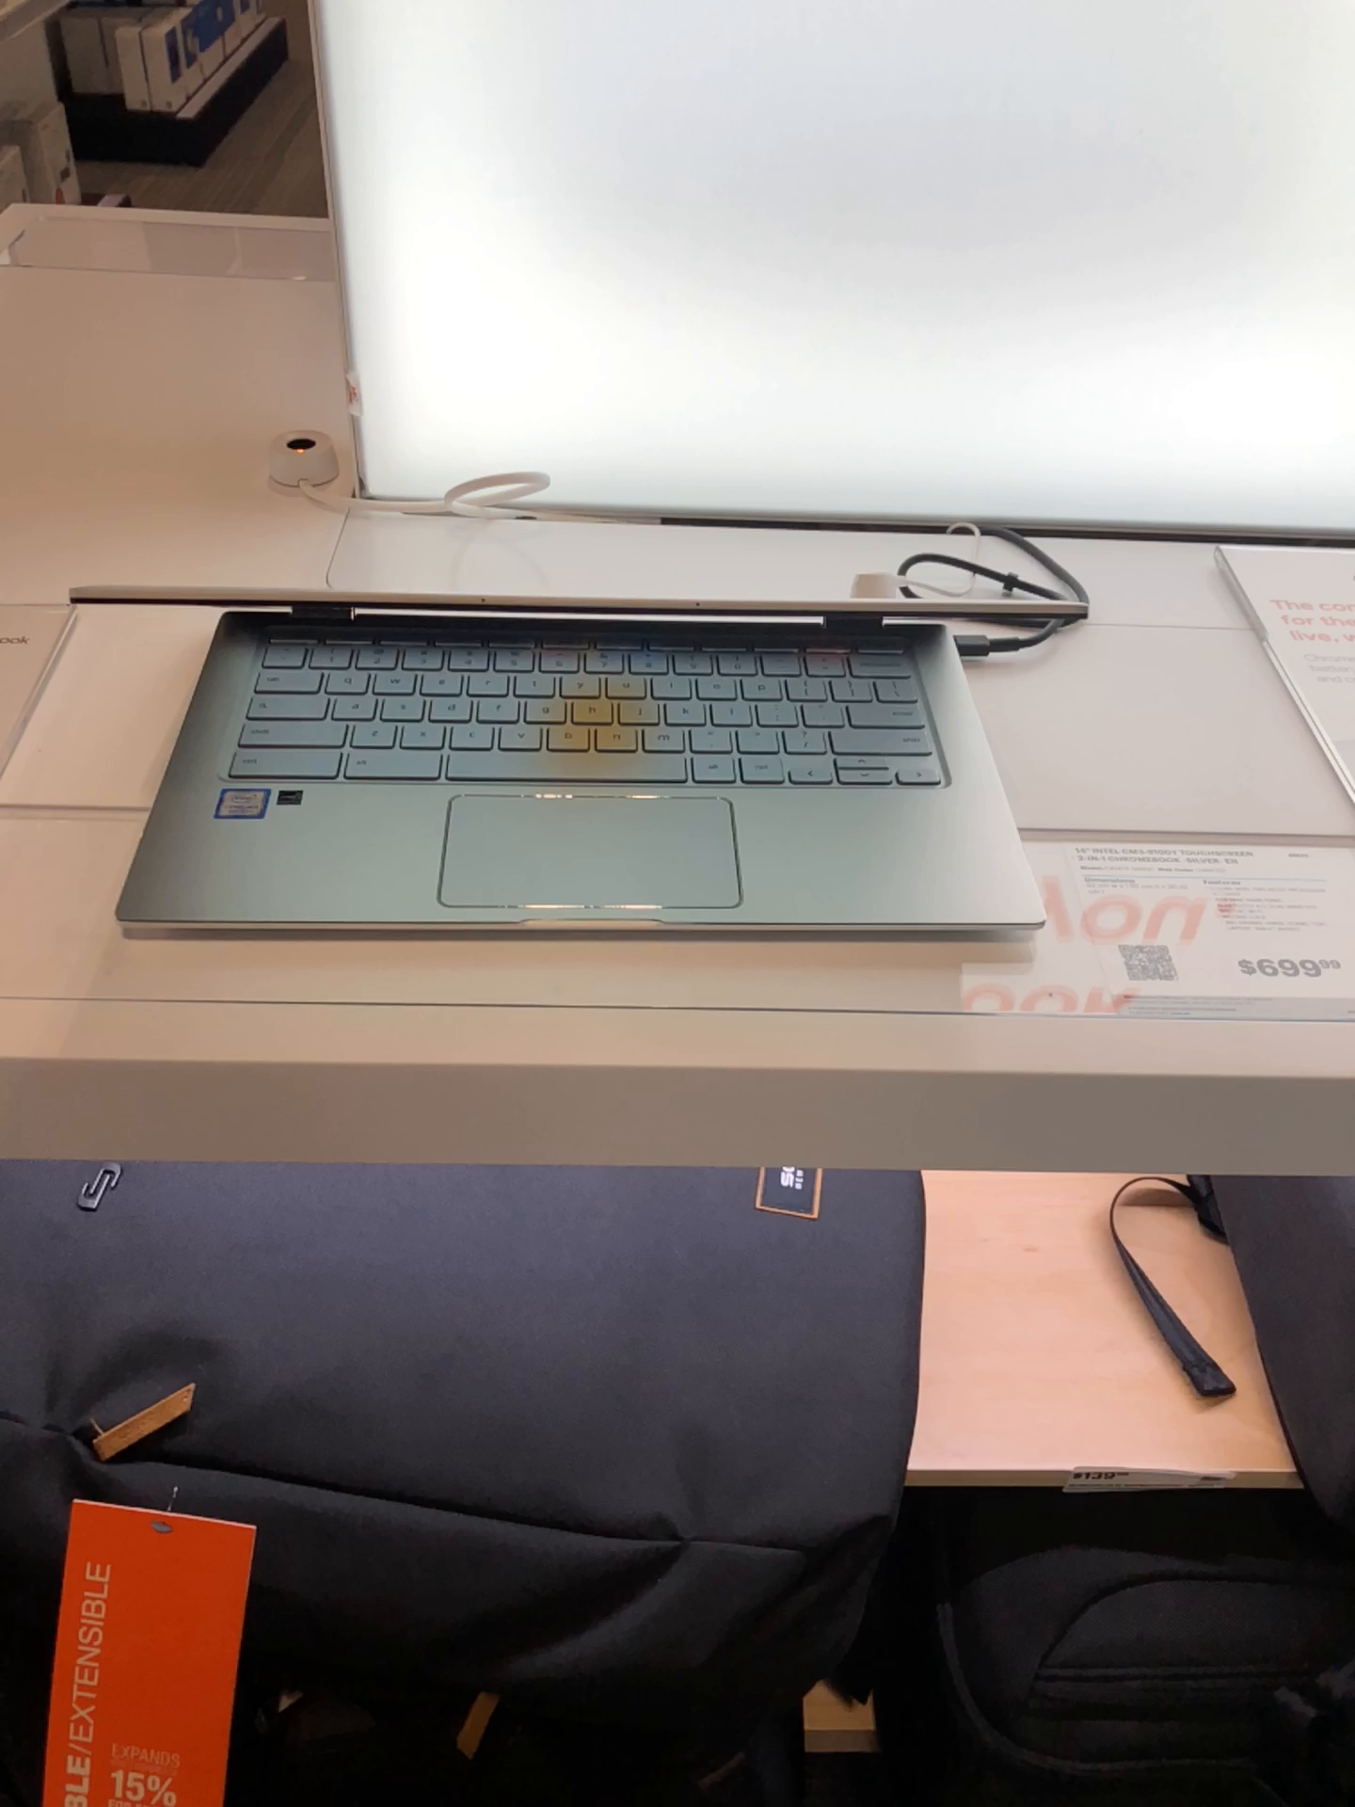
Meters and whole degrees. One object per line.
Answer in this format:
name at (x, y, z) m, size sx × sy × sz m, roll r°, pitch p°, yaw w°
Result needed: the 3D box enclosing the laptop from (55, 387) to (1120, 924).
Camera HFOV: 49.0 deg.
laptop at (-0.031, -0.096, 0.540) m, size 0.311 × 0.101 × 0.194 m, roll 0°, pitch 41°, yaw -2°
